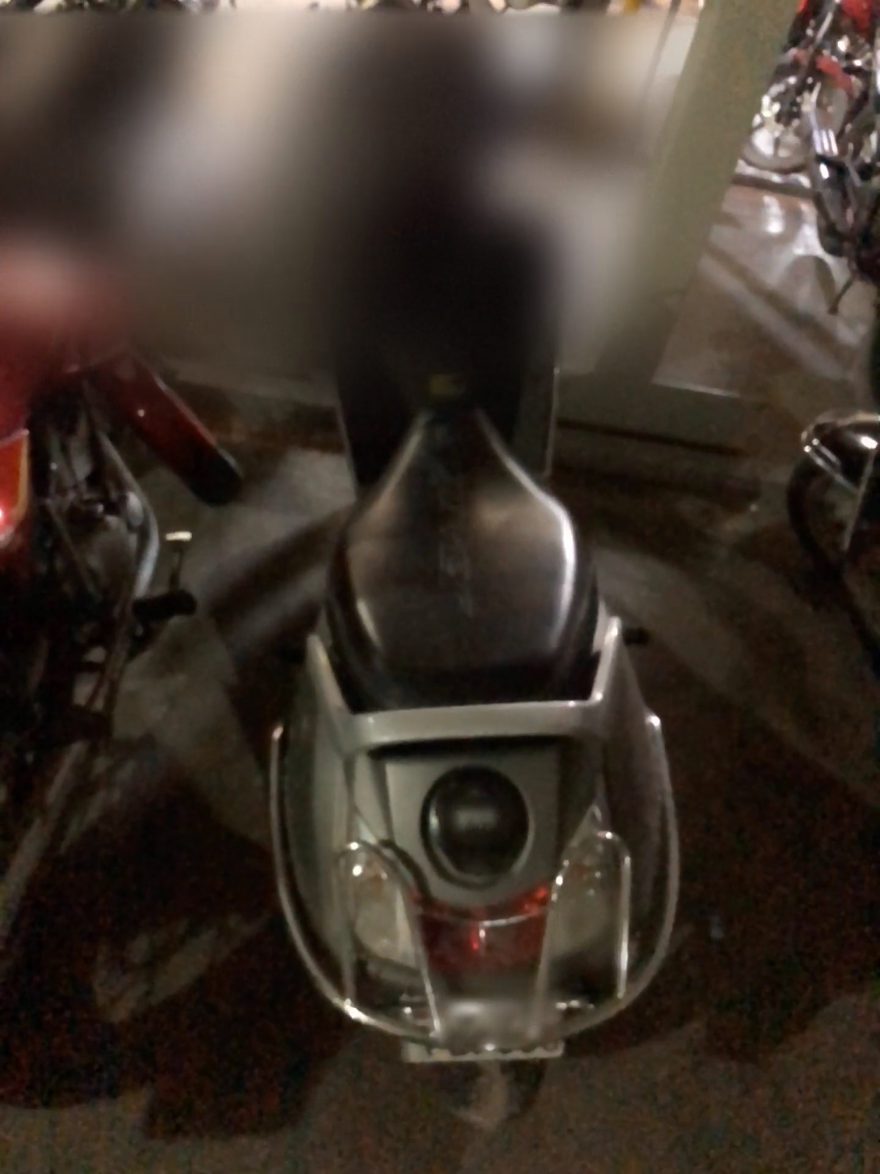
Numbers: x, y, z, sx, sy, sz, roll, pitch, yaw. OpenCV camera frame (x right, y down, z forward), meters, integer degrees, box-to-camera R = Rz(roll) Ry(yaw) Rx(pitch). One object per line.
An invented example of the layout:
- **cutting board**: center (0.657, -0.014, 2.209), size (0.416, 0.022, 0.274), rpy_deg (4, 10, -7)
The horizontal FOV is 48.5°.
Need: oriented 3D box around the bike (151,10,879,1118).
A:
- **bike**: center (-0.029, -0.087, 1.575), size (0.602, 1.094, 1.387), rpy_deg (6, 43, -9)
